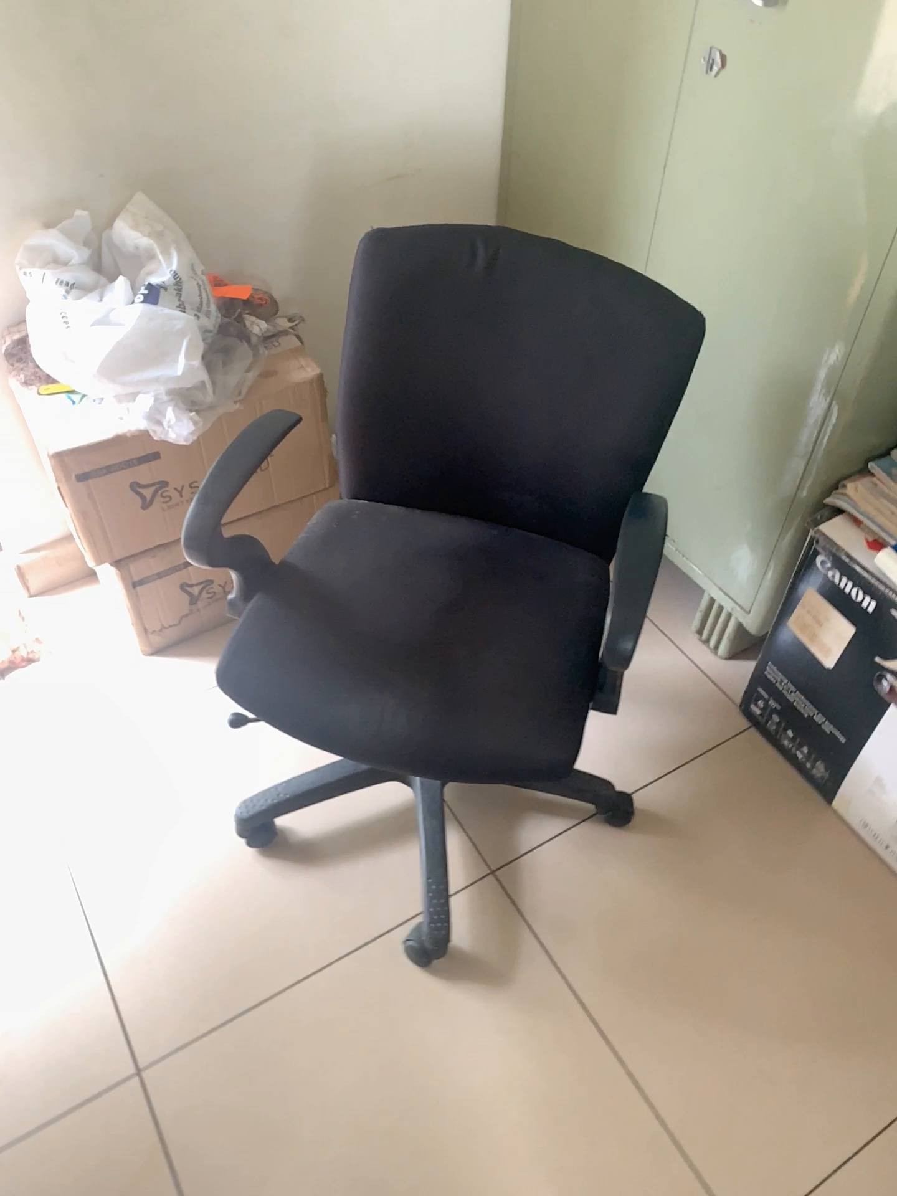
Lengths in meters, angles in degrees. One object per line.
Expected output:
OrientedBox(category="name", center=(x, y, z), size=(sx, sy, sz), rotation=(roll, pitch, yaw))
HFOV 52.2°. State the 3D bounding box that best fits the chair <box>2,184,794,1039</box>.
OrientedBox(category="chair", center=(0.004, 0.042, 1.352), size=(0.700, 0.927, 0.702), rotation=(11, 47, 8))
